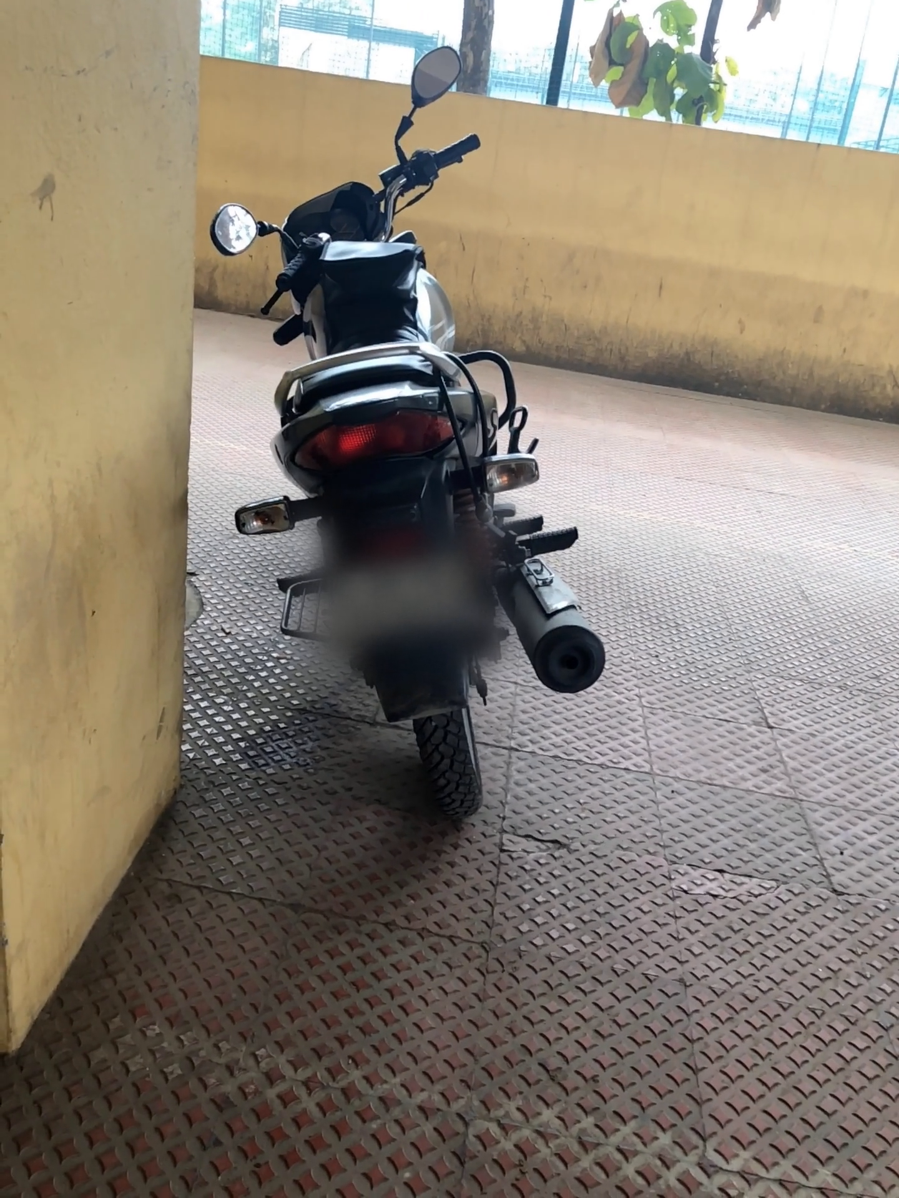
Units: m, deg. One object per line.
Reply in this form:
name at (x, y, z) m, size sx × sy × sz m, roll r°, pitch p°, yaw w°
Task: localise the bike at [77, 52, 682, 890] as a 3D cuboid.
bike at (-0.271, -0.387, 2.053) m, size 0.720 × 1.167 × 1.475 m, roll 4°, pitch 25°, yaw -11°
